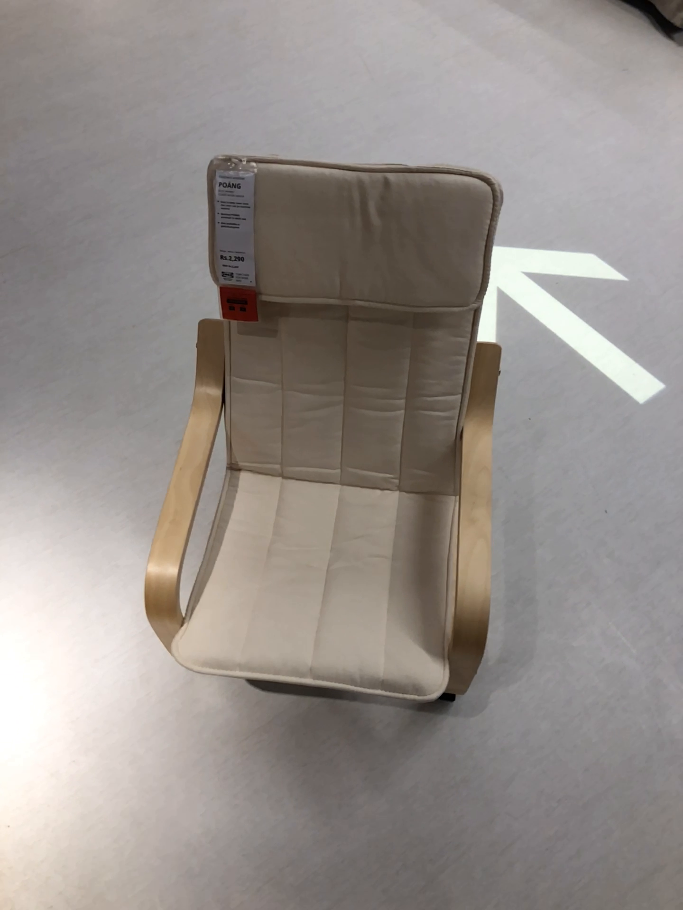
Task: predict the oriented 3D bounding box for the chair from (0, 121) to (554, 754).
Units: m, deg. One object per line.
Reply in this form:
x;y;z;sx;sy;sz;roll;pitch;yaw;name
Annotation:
-0.053;0.049;1.171;0.560;0.836;0.583;5;58;5;chair
